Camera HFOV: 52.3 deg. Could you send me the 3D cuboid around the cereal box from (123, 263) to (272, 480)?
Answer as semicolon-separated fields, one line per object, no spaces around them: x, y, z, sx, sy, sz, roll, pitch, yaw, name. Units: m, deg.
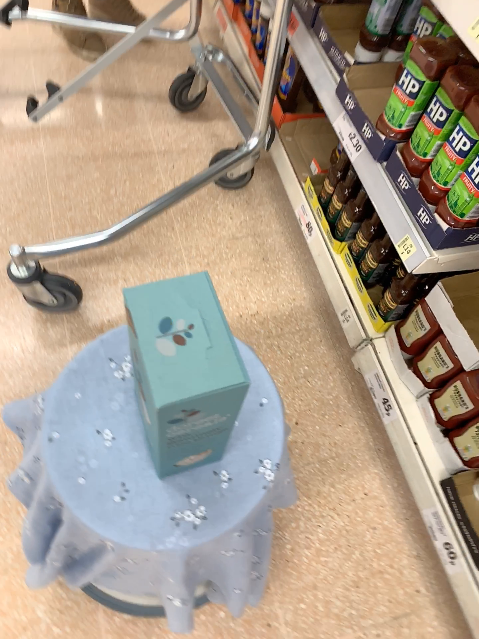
-0.055;0.068;0.508;0.090;0.238;0.121;-15;64;-17;cereal box
